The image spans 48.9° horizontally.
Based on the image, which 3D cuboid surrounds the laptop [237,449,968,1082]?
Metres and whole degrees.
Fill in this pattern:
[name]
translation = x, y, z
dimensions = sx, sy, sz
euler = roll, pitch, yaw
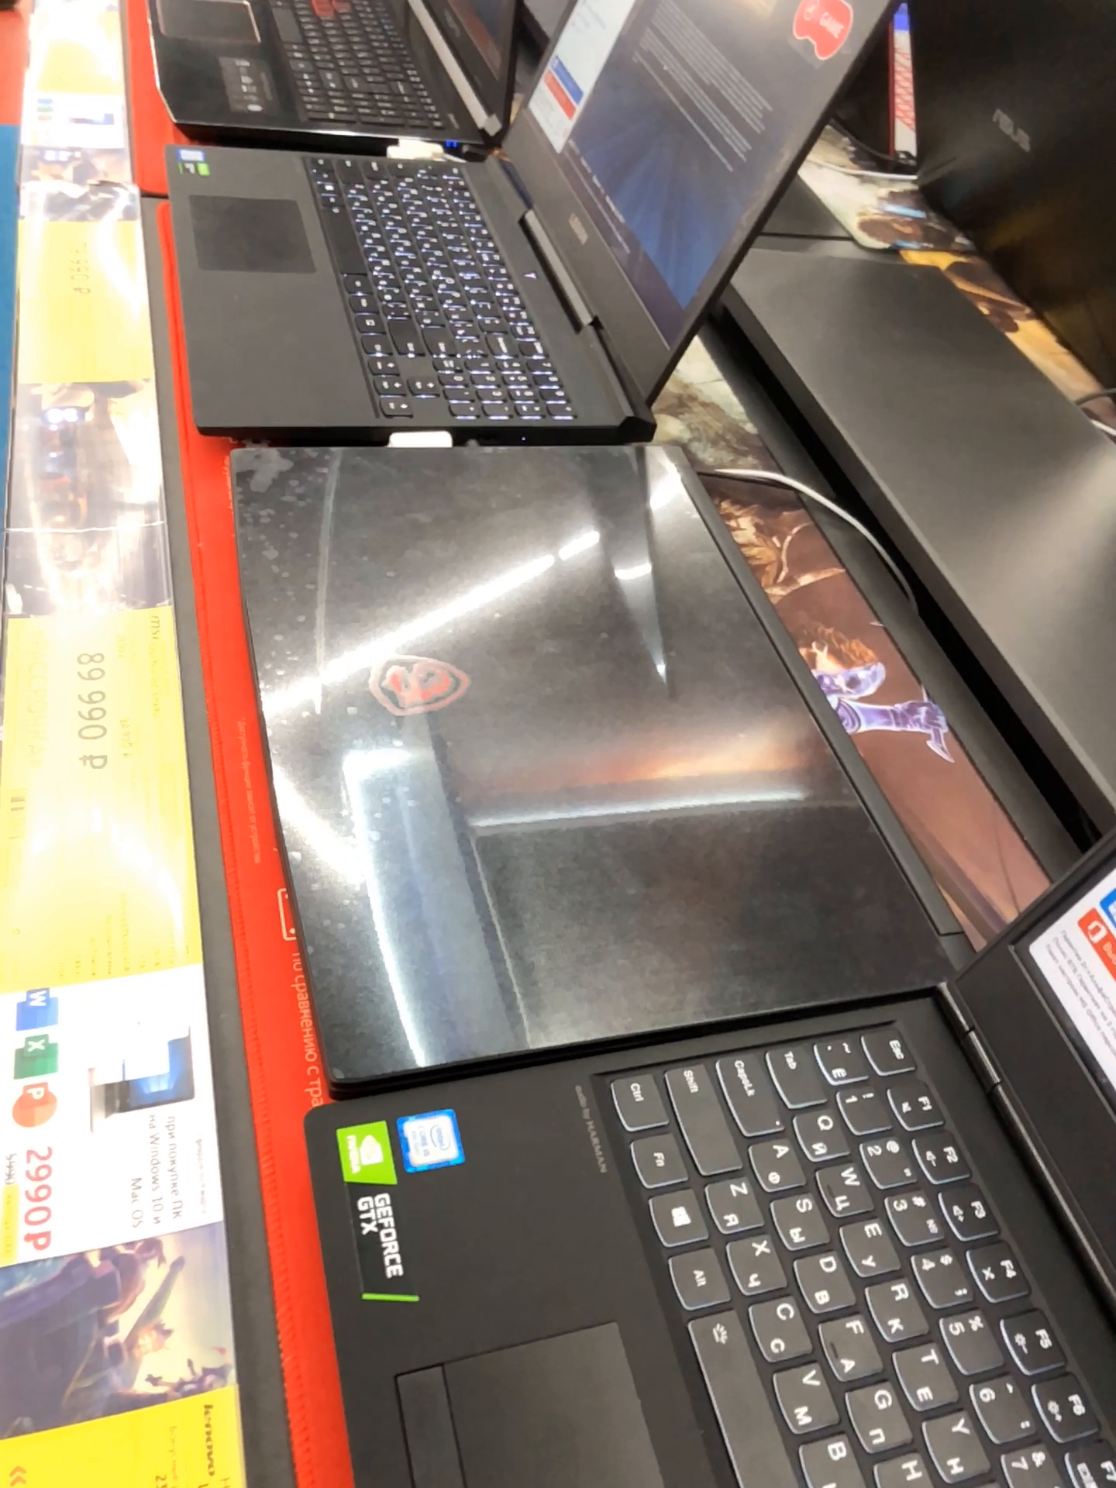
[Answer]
[laptop]
translation = -0.004, -0.030, 0.541
dimensions = 0.239, 0.002, 0.354
euler = -5, 47, -18
